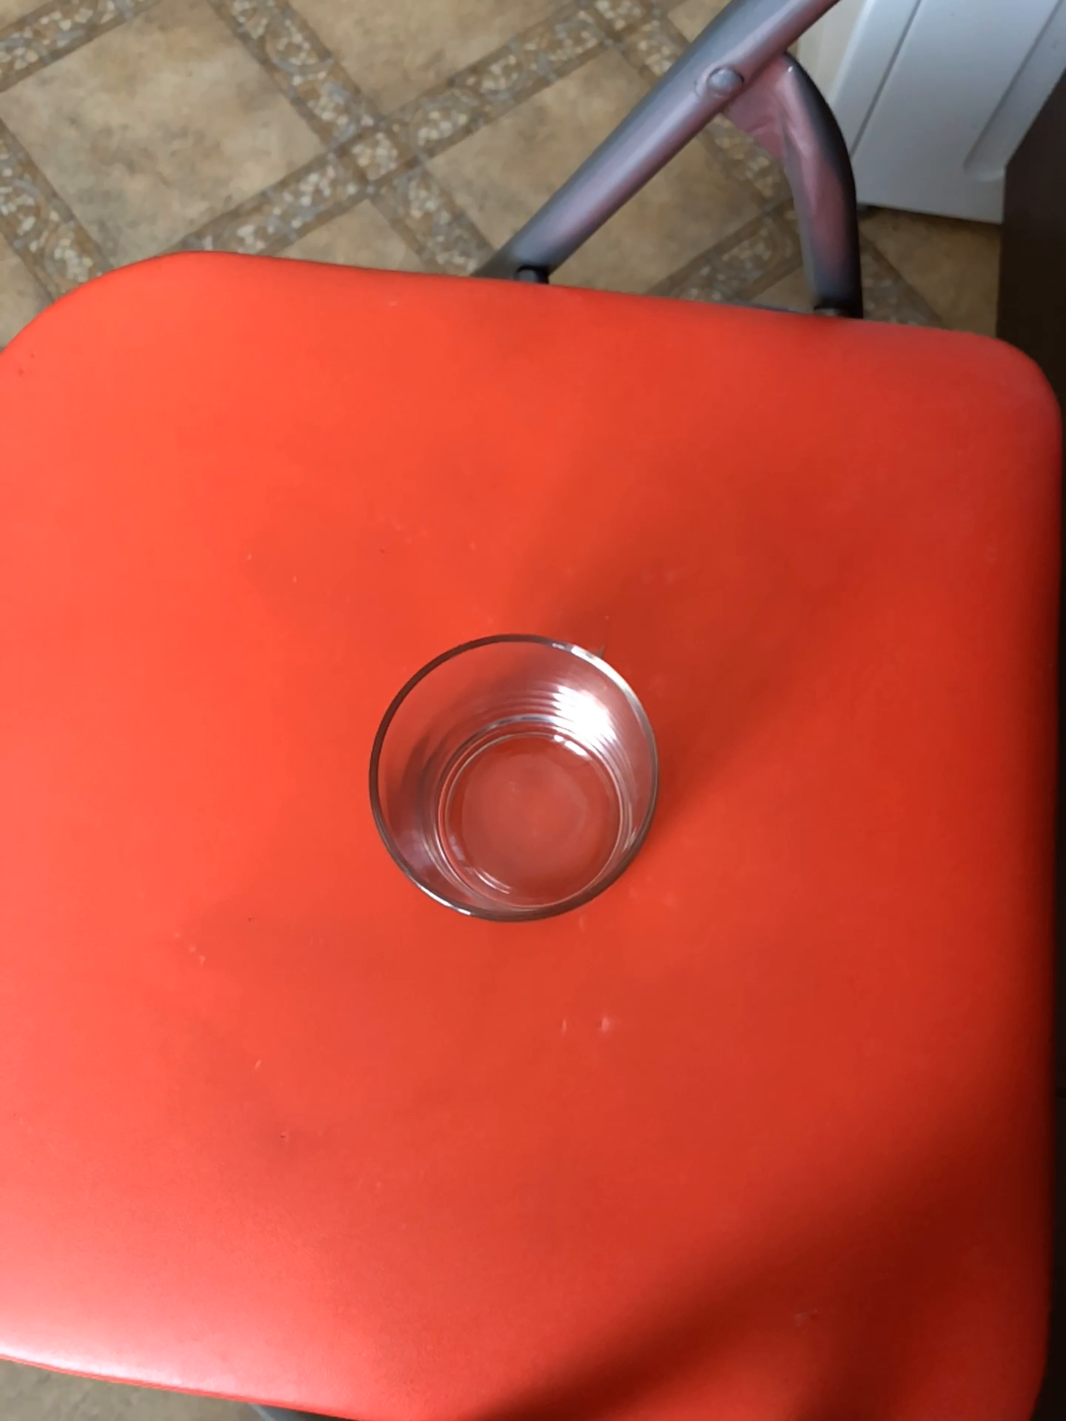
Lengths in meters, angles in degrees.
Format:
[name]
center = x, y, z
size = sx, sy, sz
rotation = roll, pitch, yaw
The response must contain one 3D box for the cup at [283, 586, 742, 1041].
[cup]
center = -0.004, 0.031, 0.321
size = 0.080, 0.082, 0.077
rotation = 0, 77, 2
